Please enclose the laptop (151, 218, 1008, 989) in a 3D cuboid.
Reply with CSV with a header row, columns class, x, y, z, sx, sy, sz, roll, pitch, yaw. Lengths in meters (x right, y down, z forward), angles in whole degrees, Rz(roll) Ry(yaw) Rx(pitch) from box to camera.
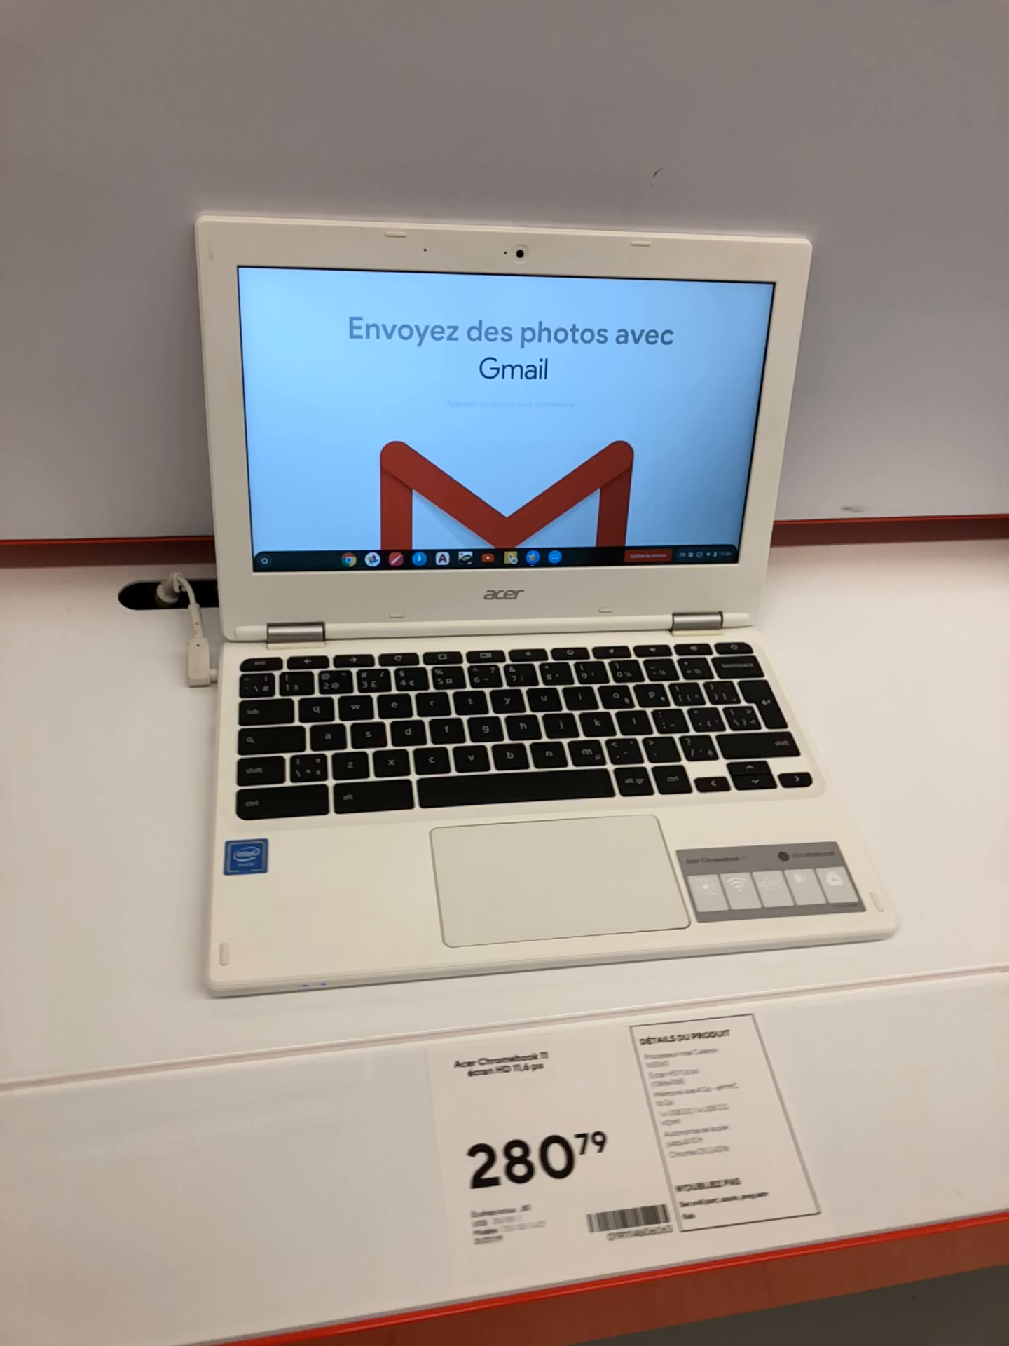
class,x,y,z,sx,sy,sz,roll,pitch,yaw
laptop,0.016,-0.043,0.477,0.282,0.188,0.260,-2,44,-10
